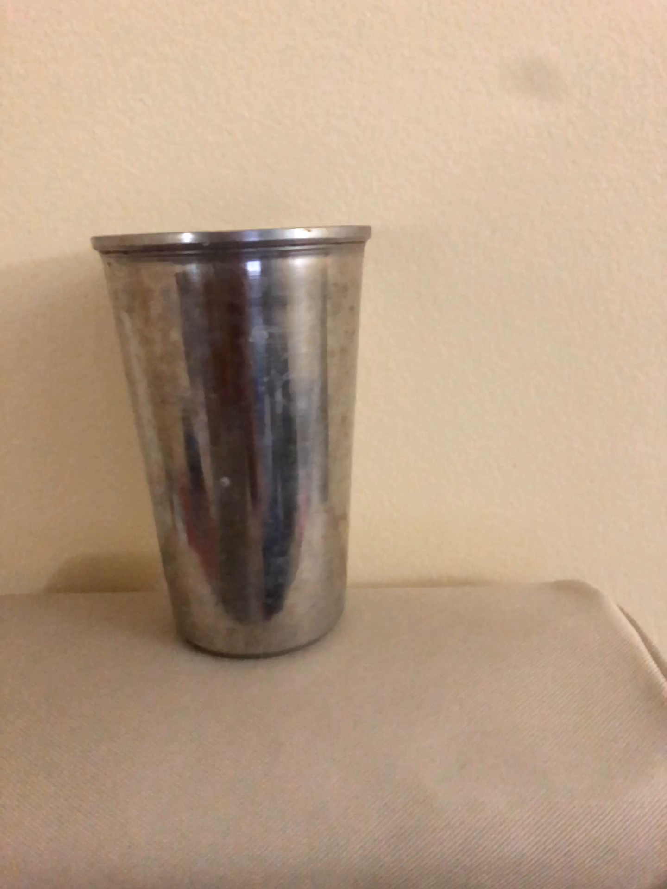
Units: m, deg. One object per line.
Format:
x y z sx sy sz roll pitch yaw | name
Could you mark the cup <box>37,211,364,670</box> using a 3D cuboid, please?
-0.029 -0.005 0.217 0.074 0.113 0.073 -1 13 0 | cup
